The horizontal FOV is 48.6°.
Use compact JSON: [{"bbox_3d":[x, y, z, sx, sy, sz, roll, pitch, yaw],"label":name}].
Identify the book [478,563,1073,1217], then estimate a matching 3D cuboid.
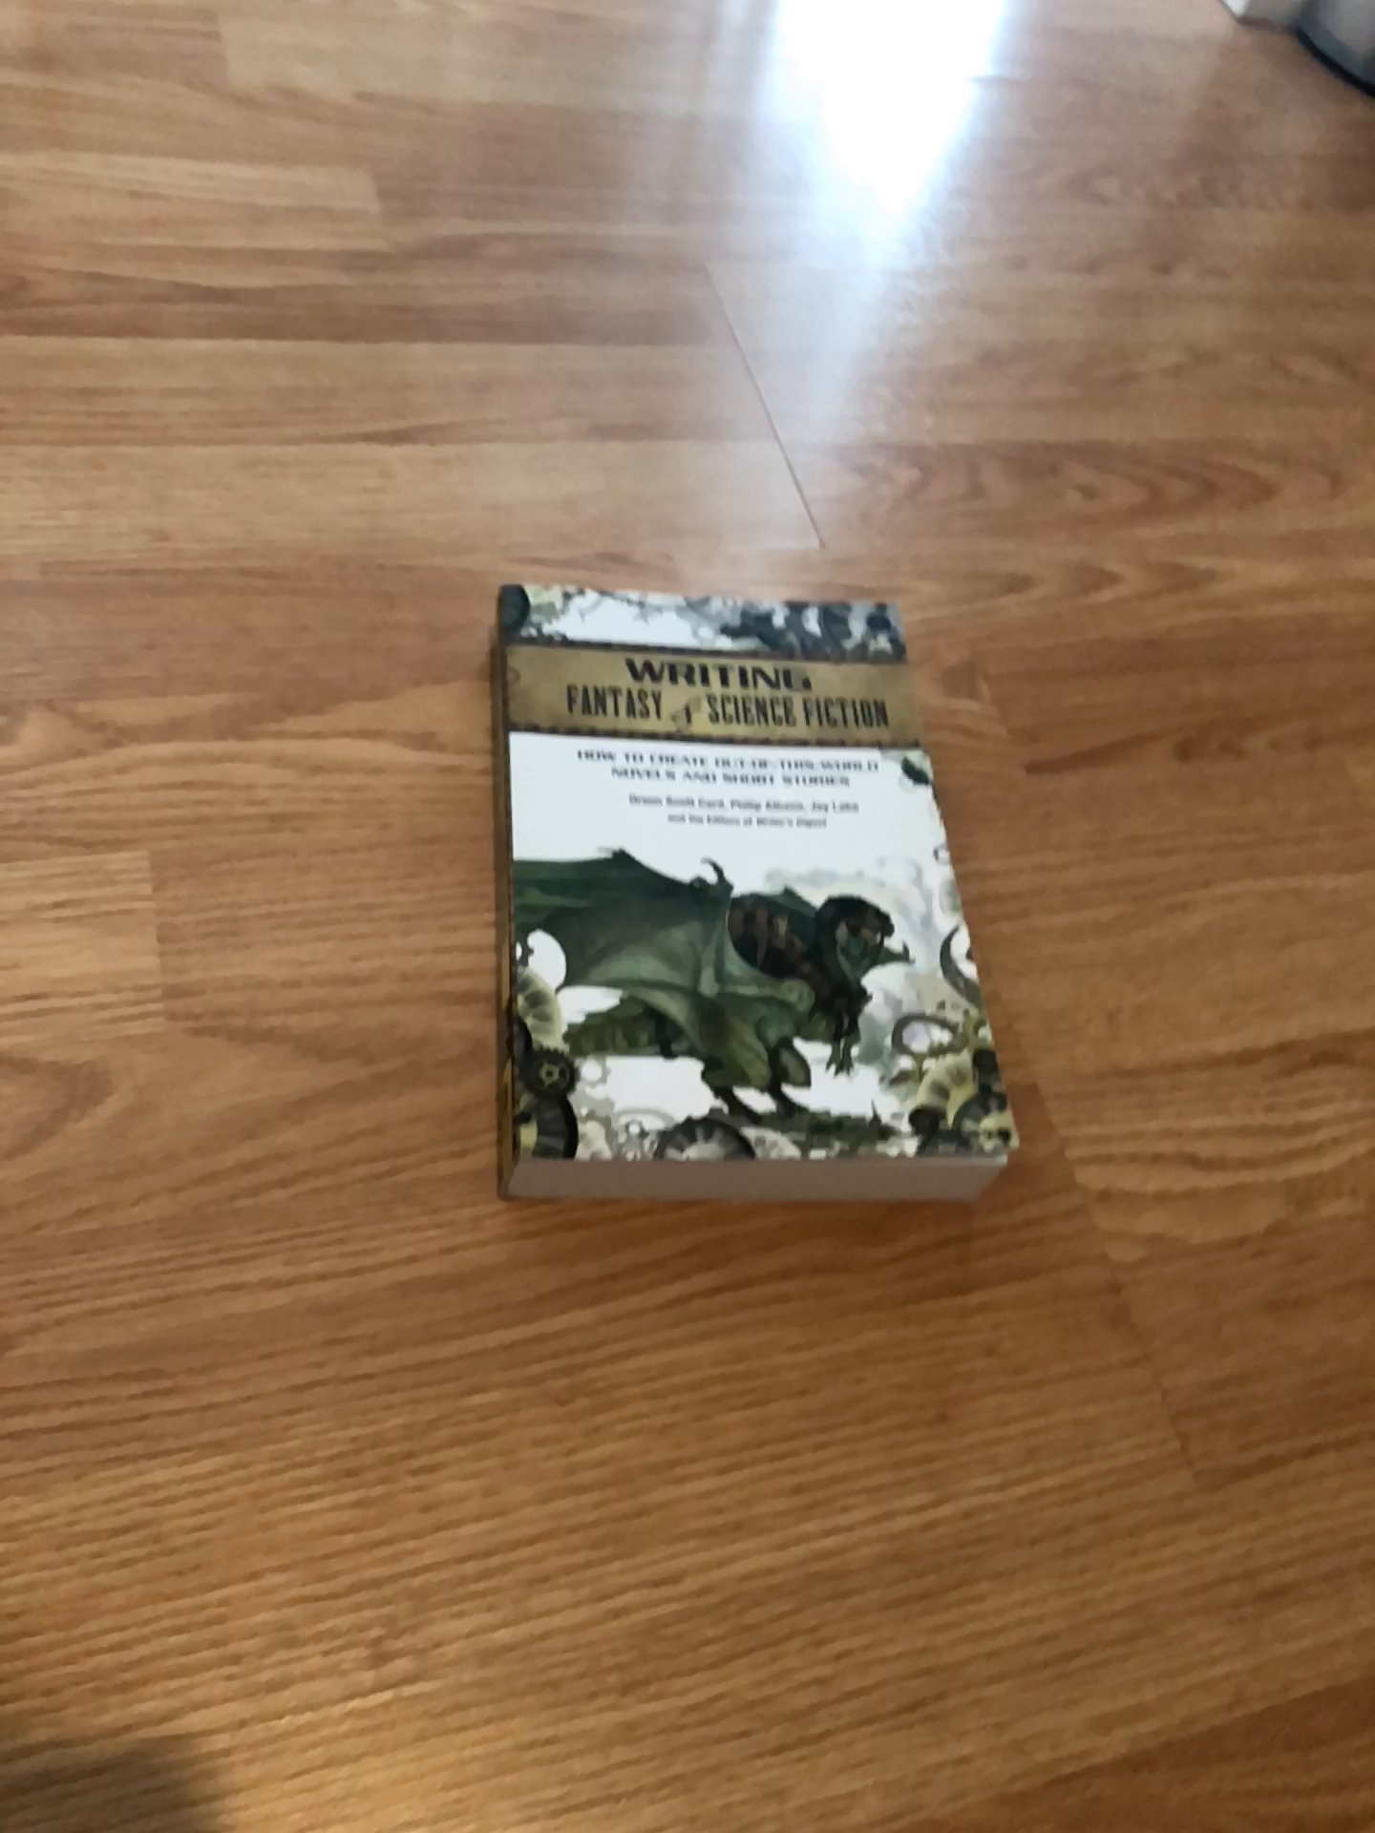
[{"bbox_3d":[0.018,-0.016,0.508,0.165,0.040,0.228,2,56,-13],"label":"book"}]
